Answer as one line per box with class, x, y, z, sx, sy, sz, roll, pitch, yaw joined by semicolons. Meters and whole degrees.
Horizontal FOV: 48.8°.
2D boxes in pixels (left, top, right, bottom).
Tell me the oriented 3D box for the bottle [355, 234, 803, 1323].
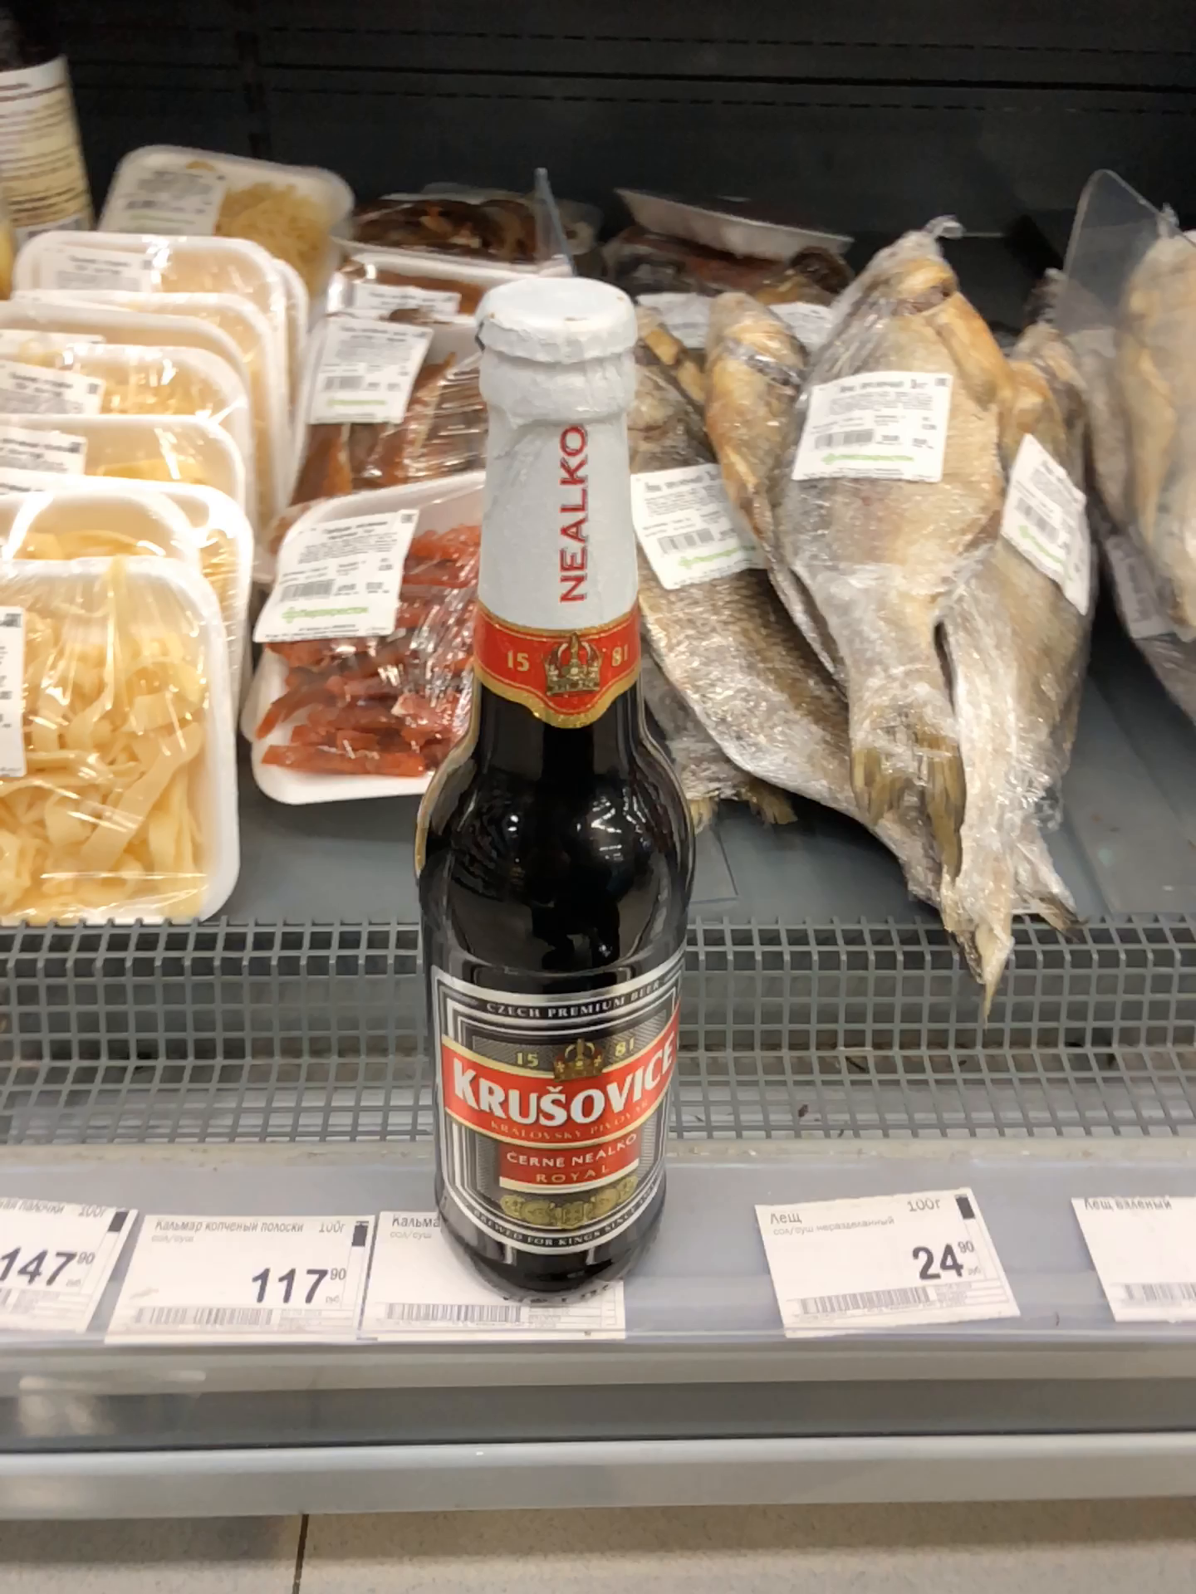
bottle;-0.009;0.017;0.315;0.070;0.268;0.070;1;38;-1
